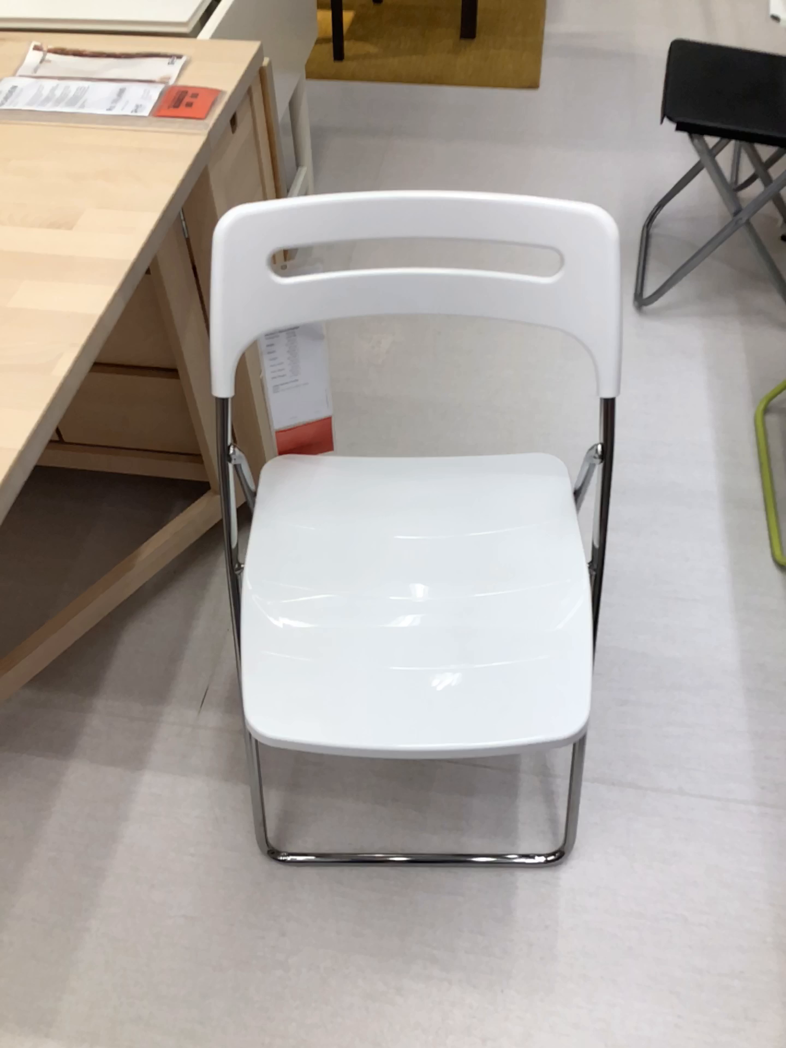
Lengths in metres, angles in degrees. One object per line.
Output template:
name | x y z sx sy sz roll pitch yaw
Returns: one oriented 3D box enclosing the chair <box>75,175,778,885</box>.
chair | 0.030 0.064 0.948 0.440 0.715 0.423 0 50 2
